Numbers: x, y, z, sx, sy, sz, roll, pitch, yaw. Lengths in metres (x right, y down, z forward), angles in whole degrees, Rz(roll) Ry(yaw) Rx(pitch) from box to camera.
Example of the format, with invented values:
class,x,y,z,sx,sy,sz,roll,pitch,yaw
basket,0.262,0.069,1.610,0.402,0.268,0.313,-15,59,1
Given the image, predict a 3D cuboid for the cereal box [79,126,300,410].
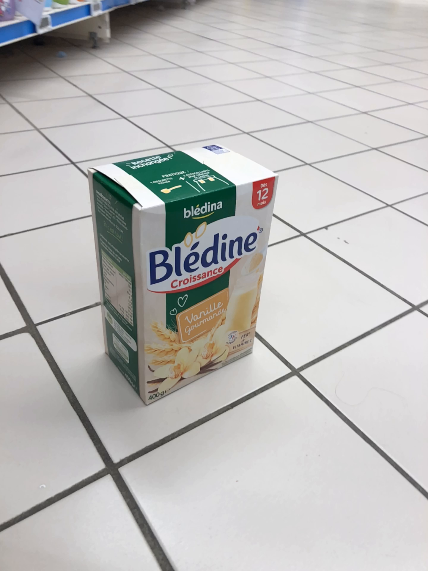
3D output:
class,x,y,z,sx,sy,sz,roll,pitch,yaw
cereal box,-0.024,-0.019,0.422,0.141,0.199,0.100,-20,41,-31
